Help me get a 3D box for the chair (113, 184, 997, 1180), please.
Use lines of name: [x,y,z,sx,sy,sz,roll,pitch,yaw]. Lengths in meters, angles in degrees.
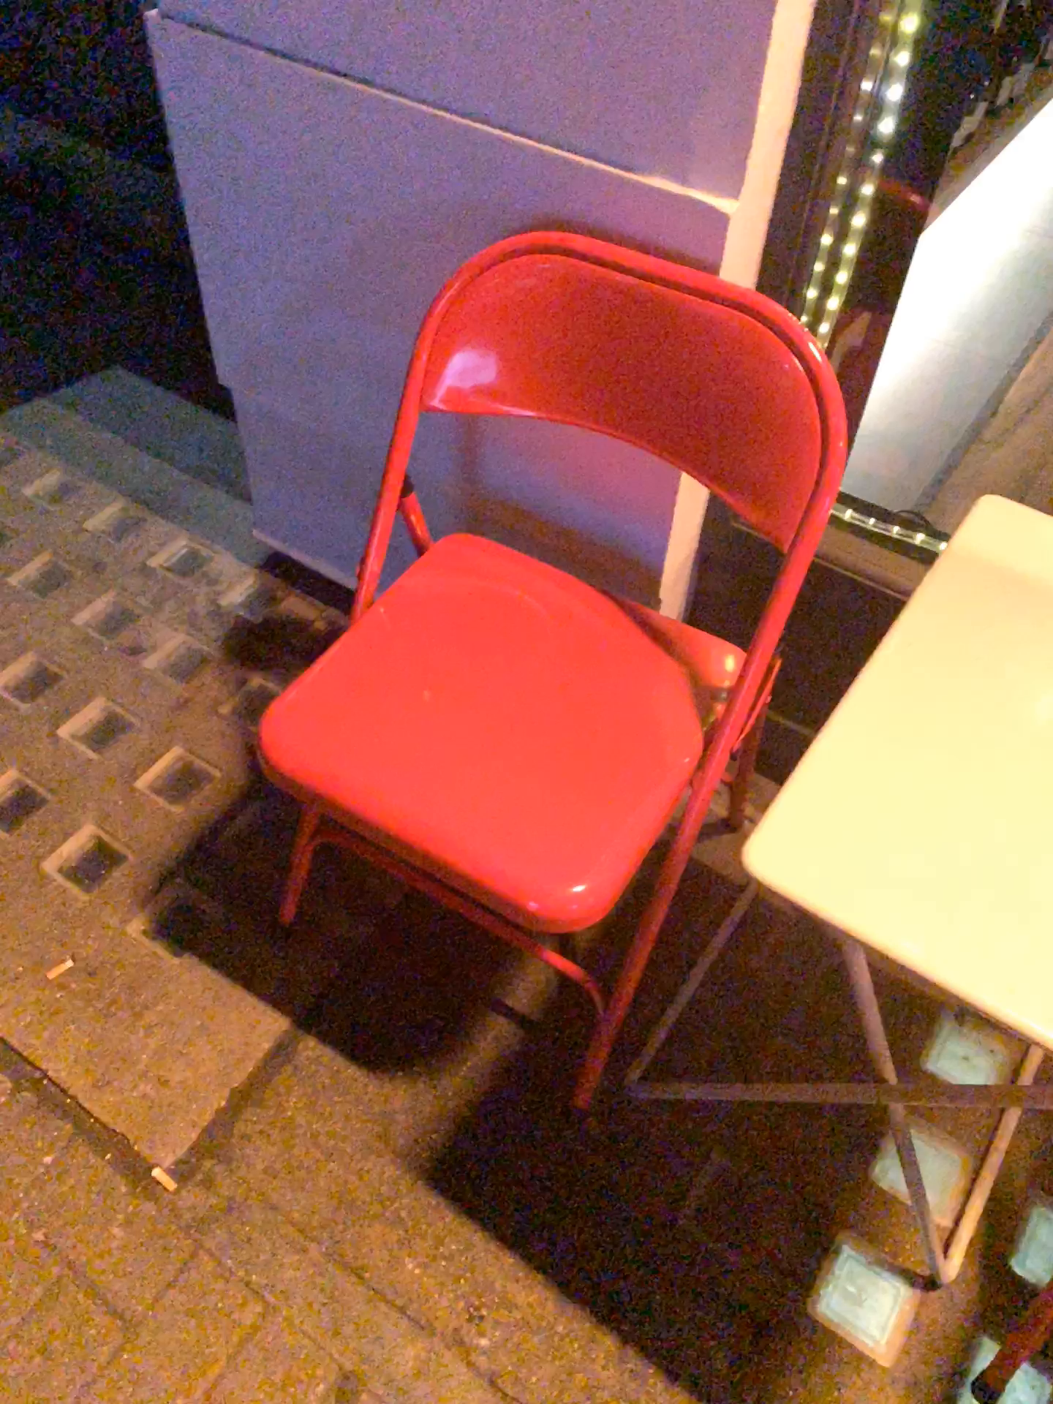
chair: [0.038,0.004,1.103,0.471,0.743,0.534,27,53,19]
